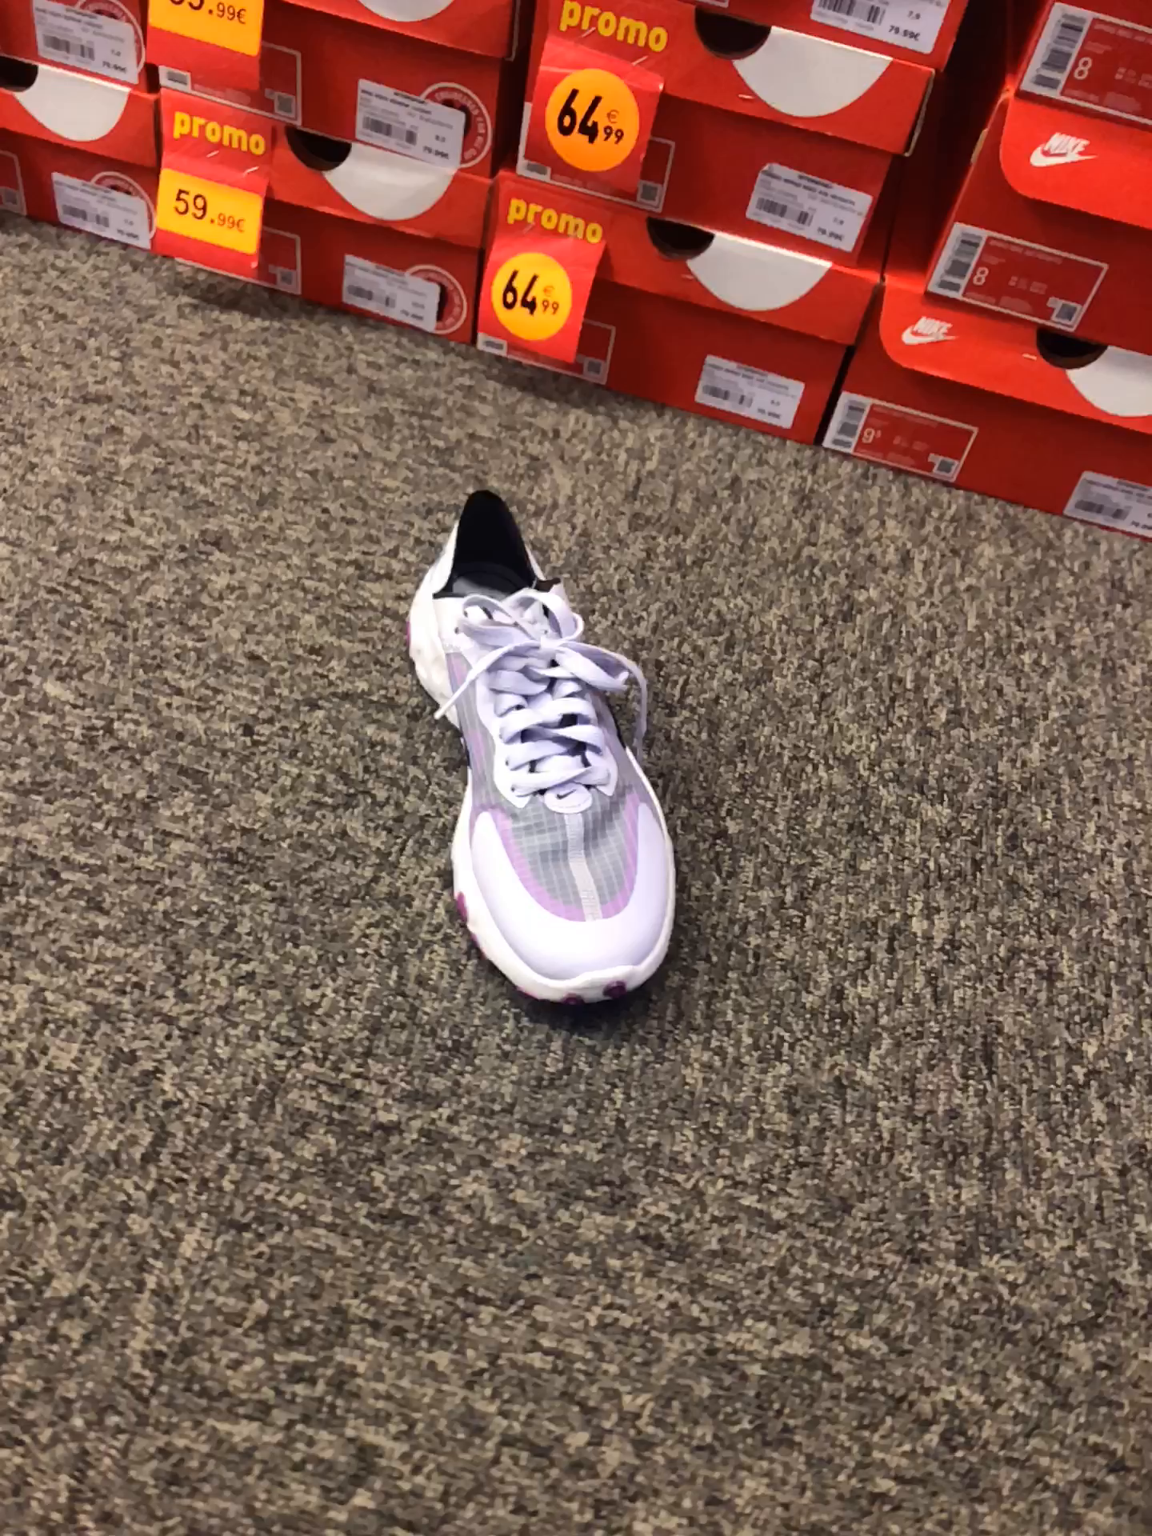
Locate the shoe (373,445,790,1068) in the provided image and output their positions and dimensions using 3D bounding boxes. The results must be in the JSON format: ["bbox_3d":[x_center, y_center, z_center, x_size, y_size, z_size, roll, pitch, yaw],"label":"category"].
[{"bbox_3d":[-0.014,-0.018,0.555,0.100,0.099,0.261,-7,52,-17],"label":"shoe"}]
